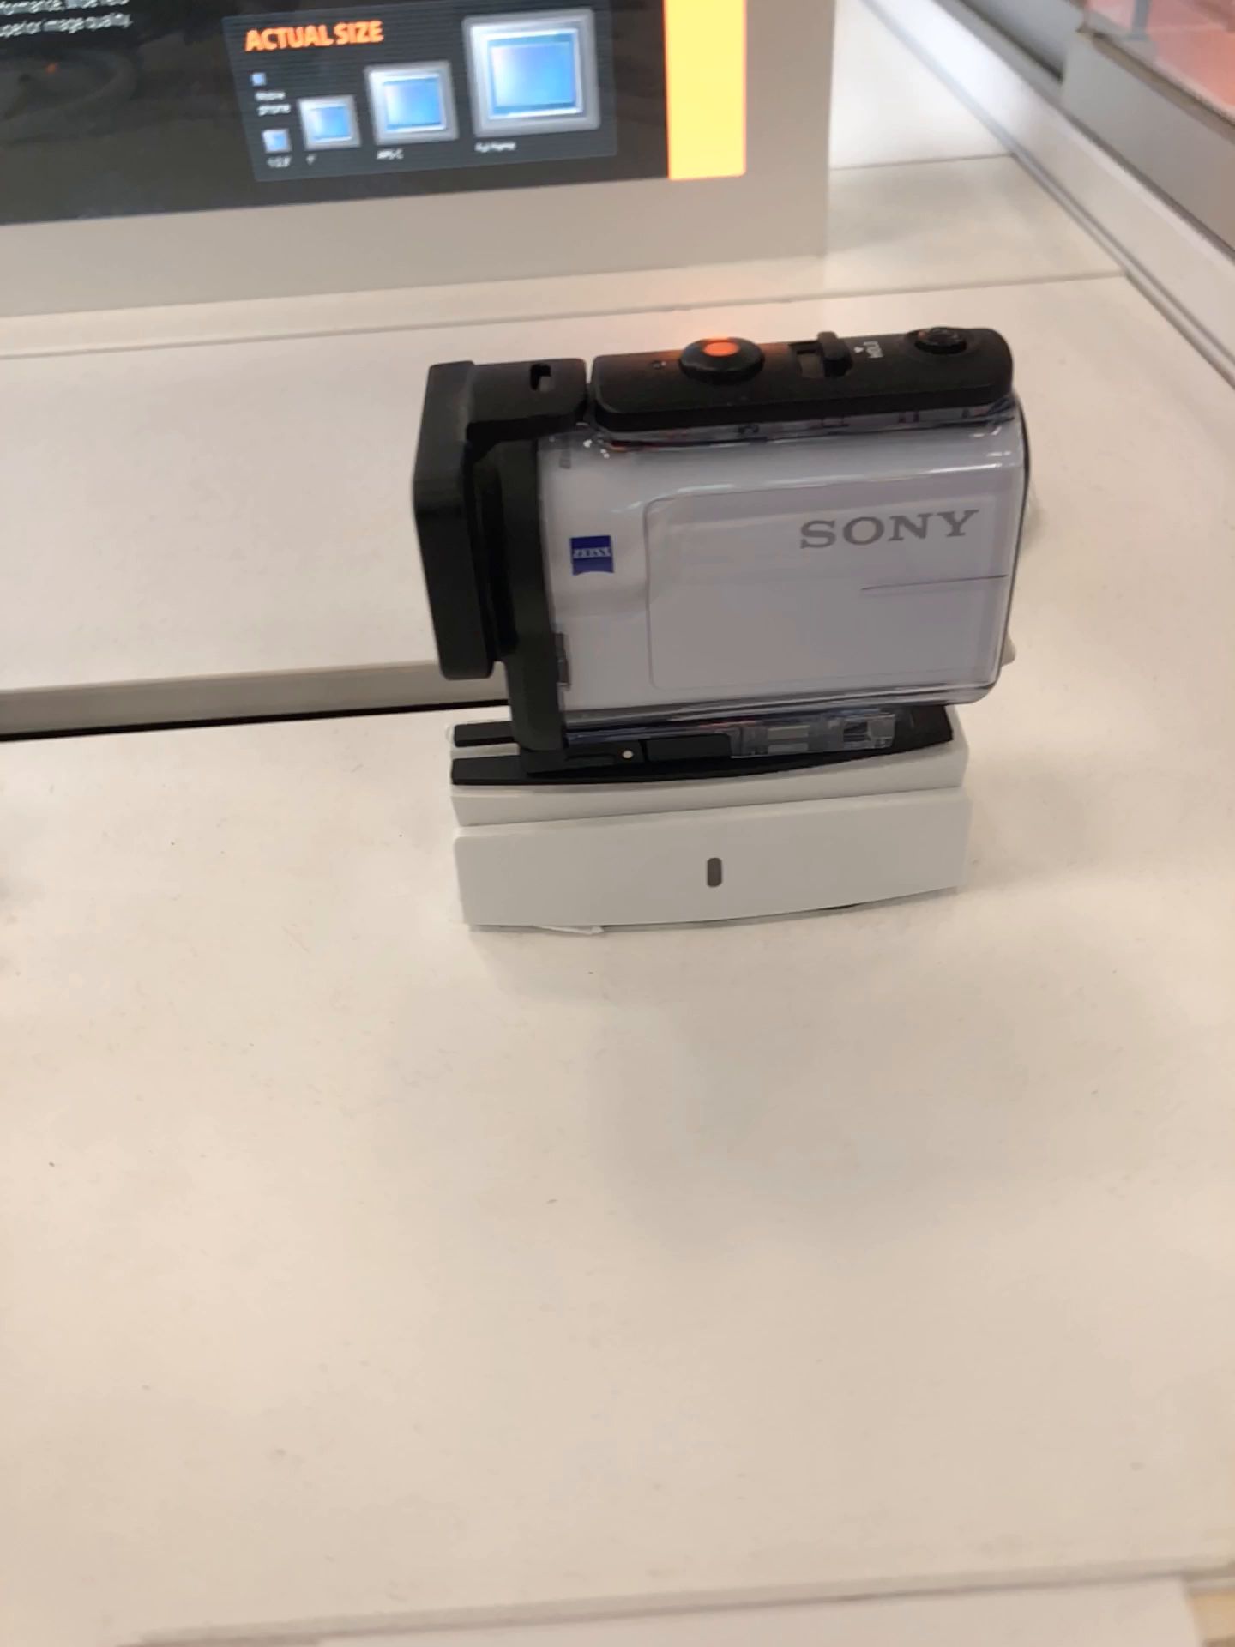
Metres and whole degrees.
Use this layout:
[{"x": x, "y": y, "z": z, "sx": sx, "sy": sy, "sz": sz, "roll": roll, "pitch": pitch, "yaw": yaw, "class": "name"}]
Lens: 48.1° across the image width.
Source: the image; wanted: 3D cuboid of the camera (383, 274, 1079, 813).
[{"x": 0.015, "y": -0.044, "z": 0.217, "sx": 0.090, "sy": 0.060, "sz": 0.050, "roll": -4, "pitch": 40, "yaw": 0, "class": "camera"}]
